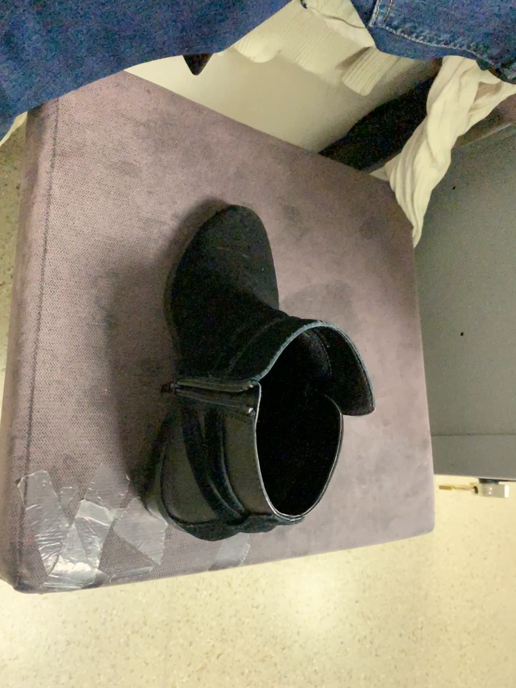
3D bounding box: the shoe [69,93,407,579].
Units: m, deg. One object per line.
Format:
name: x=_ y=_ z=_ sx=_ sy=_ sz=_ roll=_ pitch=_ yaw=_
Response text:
shoe: x=-0.007 y=-0.005 z=0.359 sx=0.105 sy=0.135 sz=0.266 roll=29 pitch=65 yaw=-30
